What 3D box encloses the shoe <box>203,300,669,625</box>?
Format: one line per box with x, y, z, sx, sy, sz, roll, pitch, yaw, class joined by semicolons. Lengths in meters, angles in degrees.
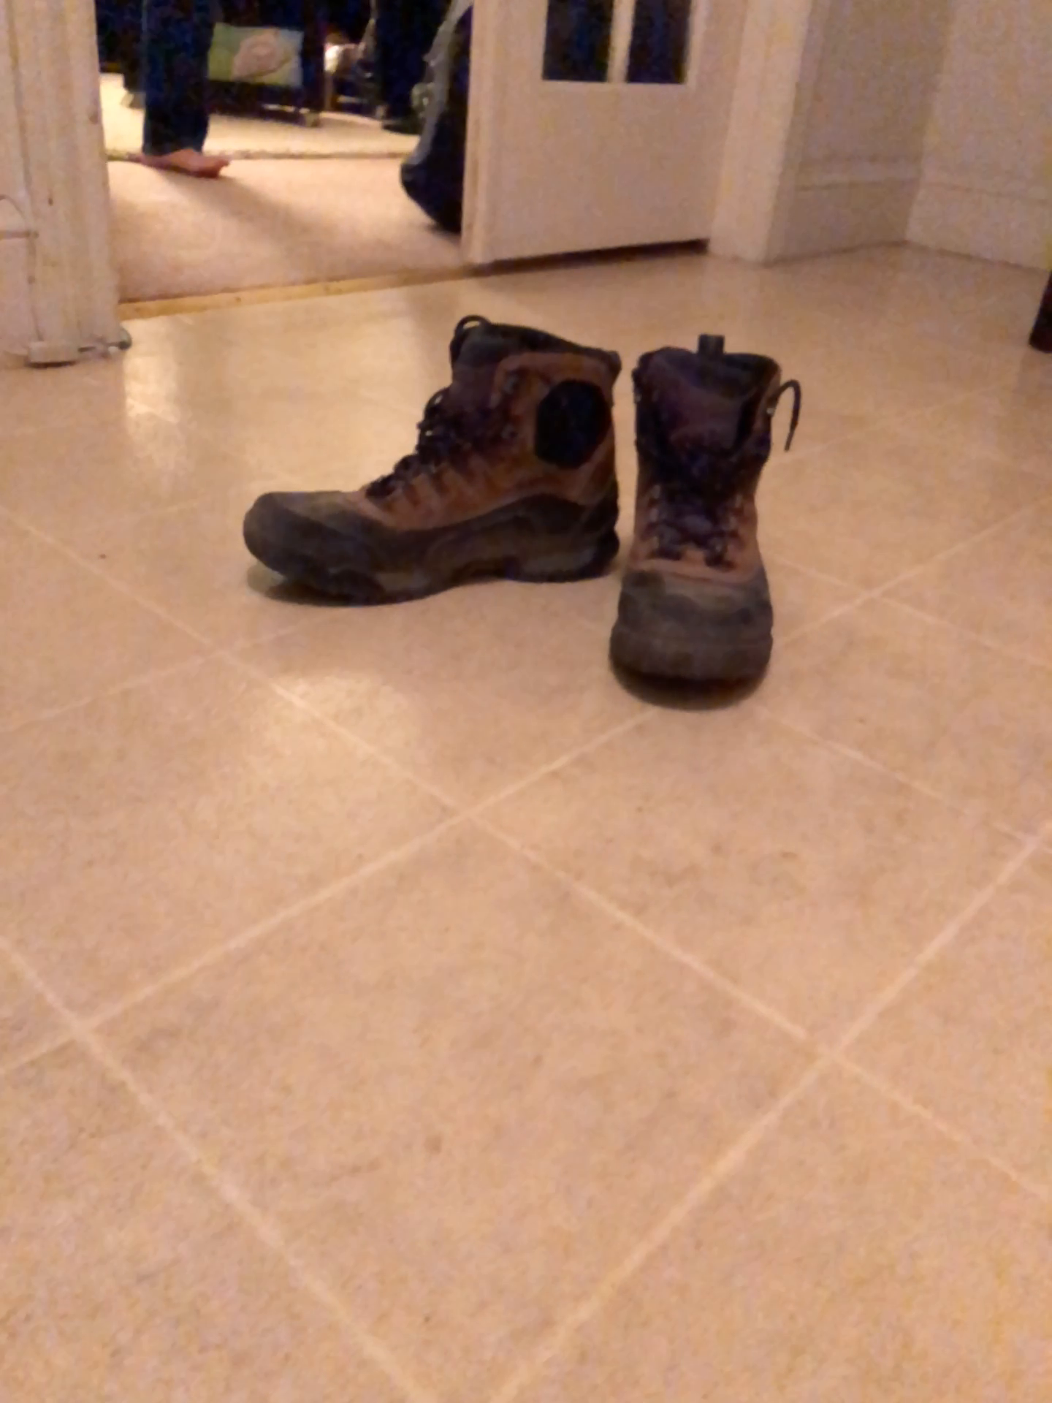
-0.067;-0.178;0.829;0.293;0.185;0.114;-8;33;-21;shoe

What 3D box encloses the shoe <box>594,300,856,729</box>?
0.118;-0.144;0.803;0.121;0.185;0.301;6;31;0;shoe
